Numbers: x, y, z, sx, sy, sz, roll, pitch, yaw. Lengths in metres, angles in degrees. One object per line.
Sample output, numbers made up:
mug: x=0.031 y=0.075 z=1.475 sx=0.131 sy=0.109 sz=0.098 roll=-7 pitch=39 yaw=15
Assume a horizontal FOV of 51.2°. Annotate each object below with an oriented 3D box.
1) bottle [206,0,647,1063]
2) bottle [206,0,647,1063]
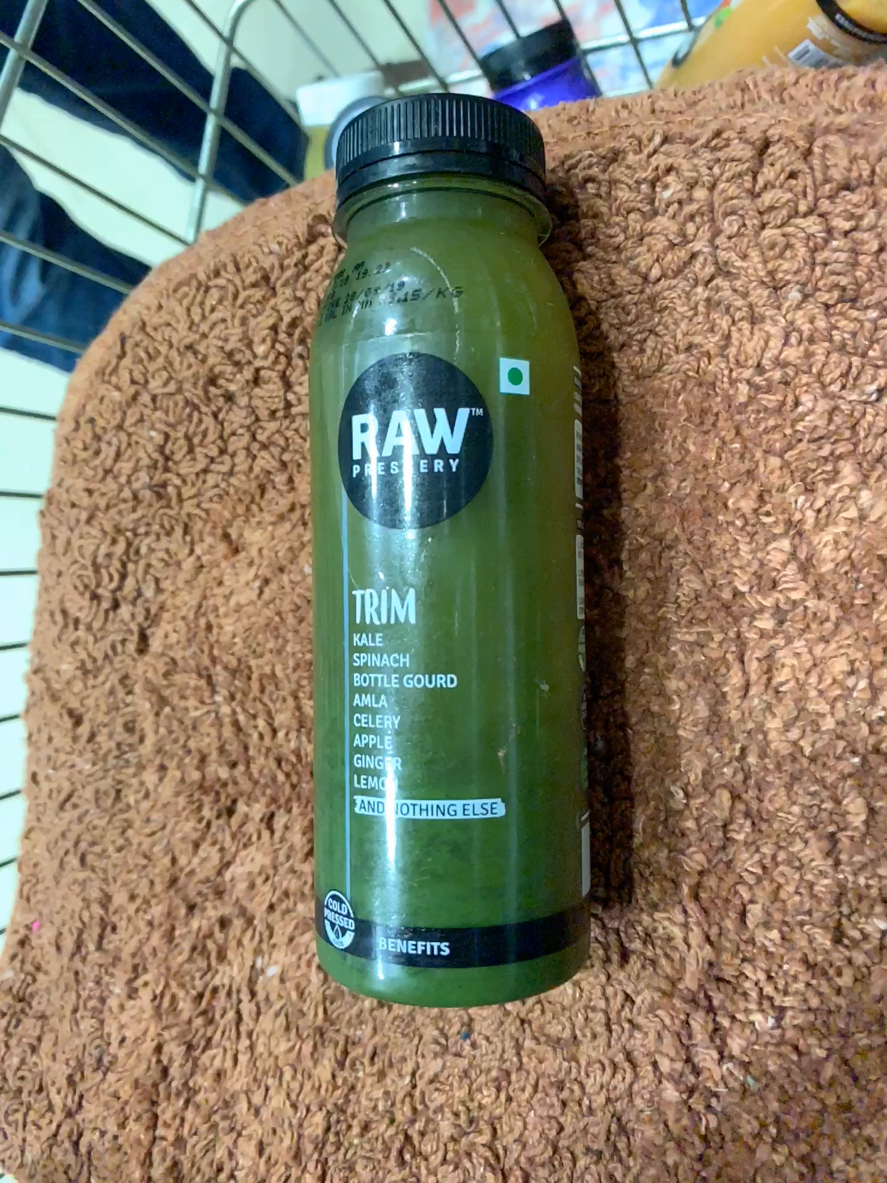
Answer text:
bottle: x=0.001 y=-0.010 z=0.162 sx=0.060 sy=0.050 sz=0.150 roll=1 pitch=87 yaw=17
bottle: x=0.001 y=-0.010 z=0.162 sx=0.060 sy=0.050 sz=0.150 roll=1 pitch=87 yaw=17
